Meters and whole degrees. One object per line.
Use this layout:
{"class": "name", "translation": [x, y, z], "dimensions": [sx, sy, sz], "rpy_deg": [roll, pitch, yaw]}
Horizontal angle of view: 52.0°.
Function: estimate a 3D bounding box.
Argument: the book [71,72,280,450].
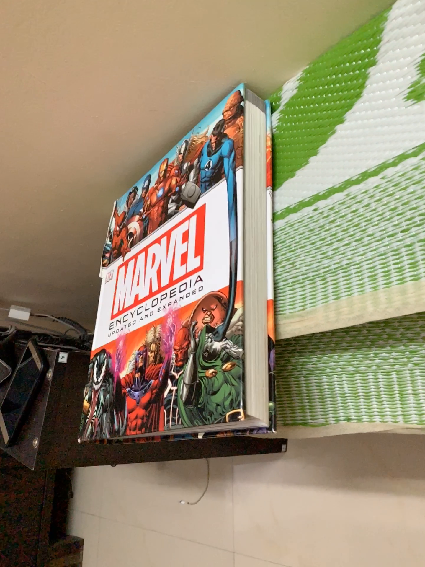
{"class": "book", "translation": [-0.046, -0.007, 0.444], "dimensions": [0.261, 0.040, 0.321], "rpy_deg": [-26, 53, 46]}
